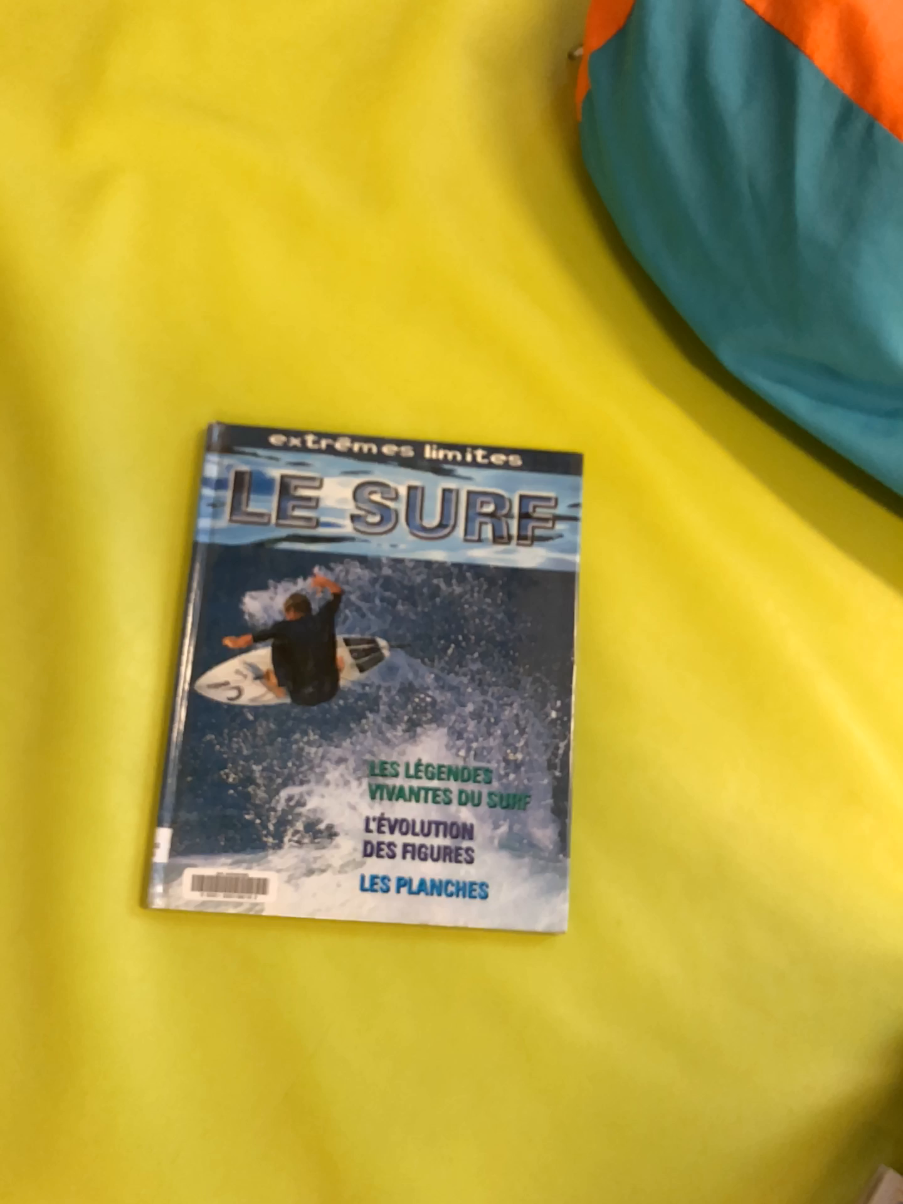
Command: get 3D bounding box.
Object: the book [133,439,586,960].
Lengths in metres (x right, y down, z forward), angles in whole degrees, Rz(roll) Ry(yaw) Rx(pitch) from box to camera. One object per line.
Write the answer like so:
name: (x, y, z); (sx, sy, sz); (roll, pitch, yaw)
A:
book: (-0.042, 0.049, 0.558); (0.226, 0.016, 0.273); (4, 76, -3)
